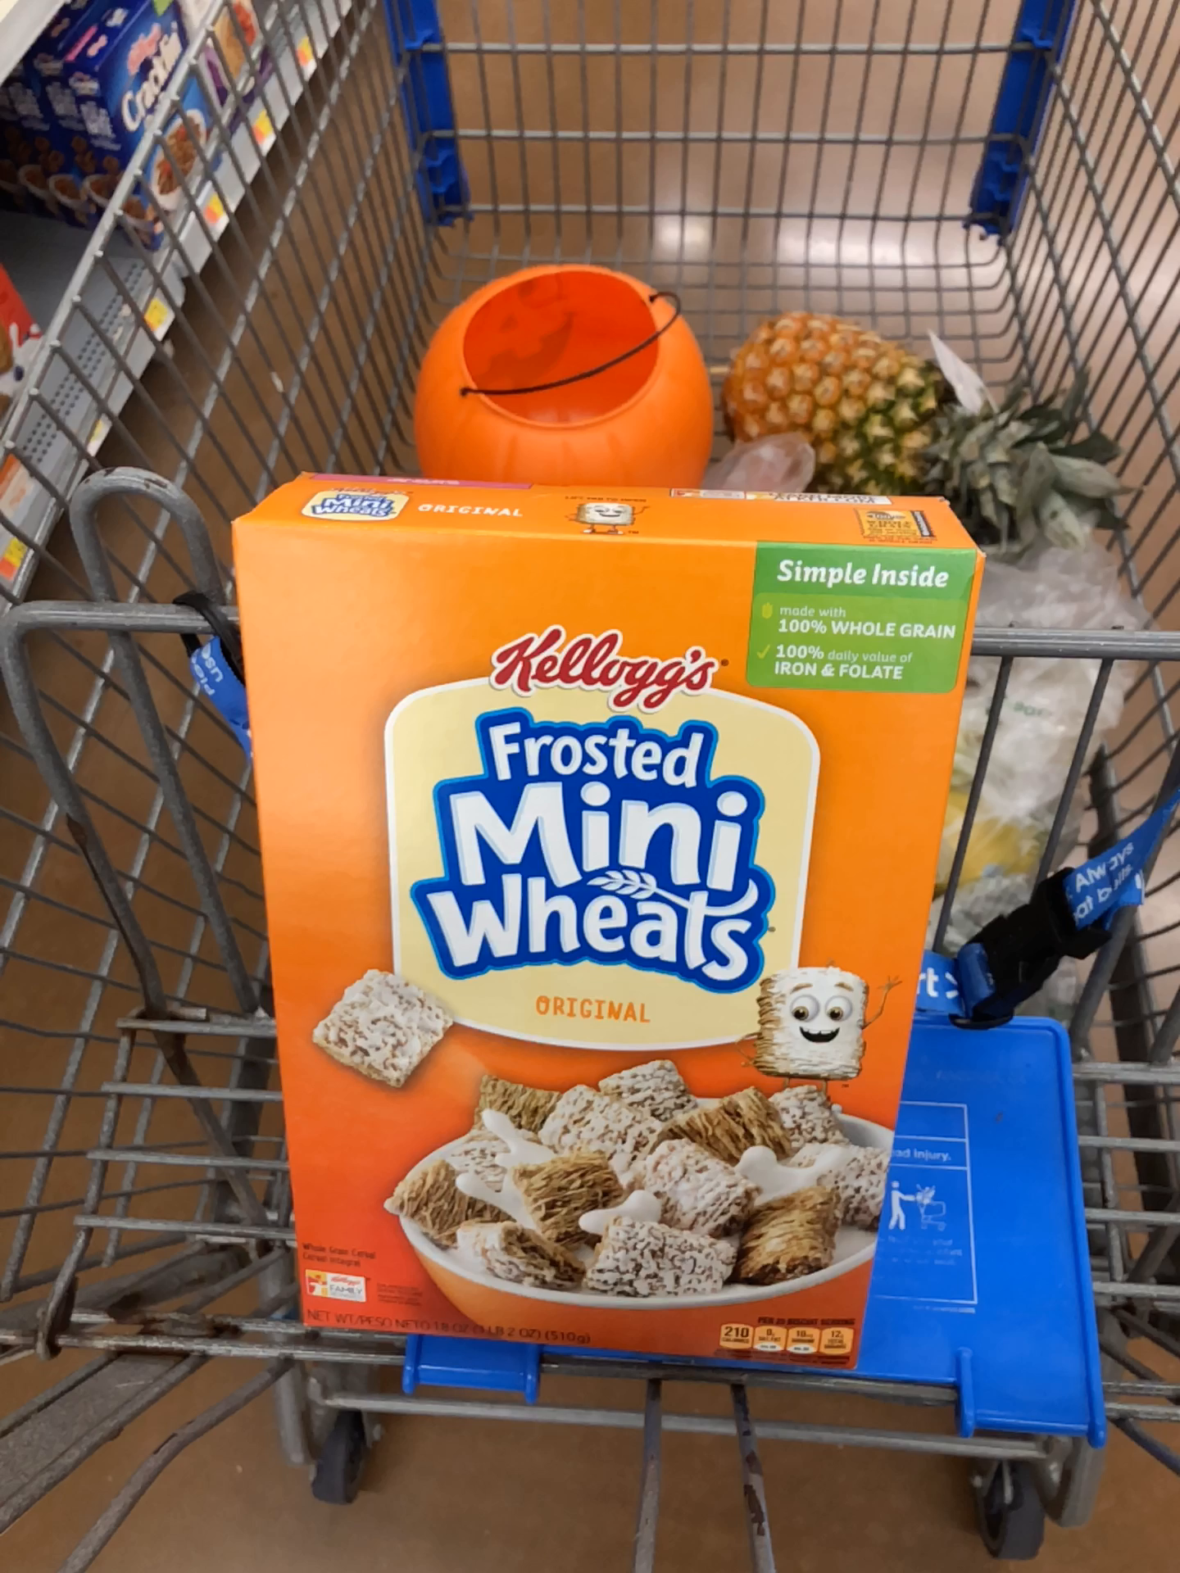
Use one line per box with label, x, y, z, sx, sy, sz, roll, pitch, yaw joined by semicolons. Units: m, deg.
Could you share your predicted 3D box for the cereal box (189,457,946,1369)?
cereal box;-0.006;0.049;0.418;0.190;0.290;0.070;1;24;2
